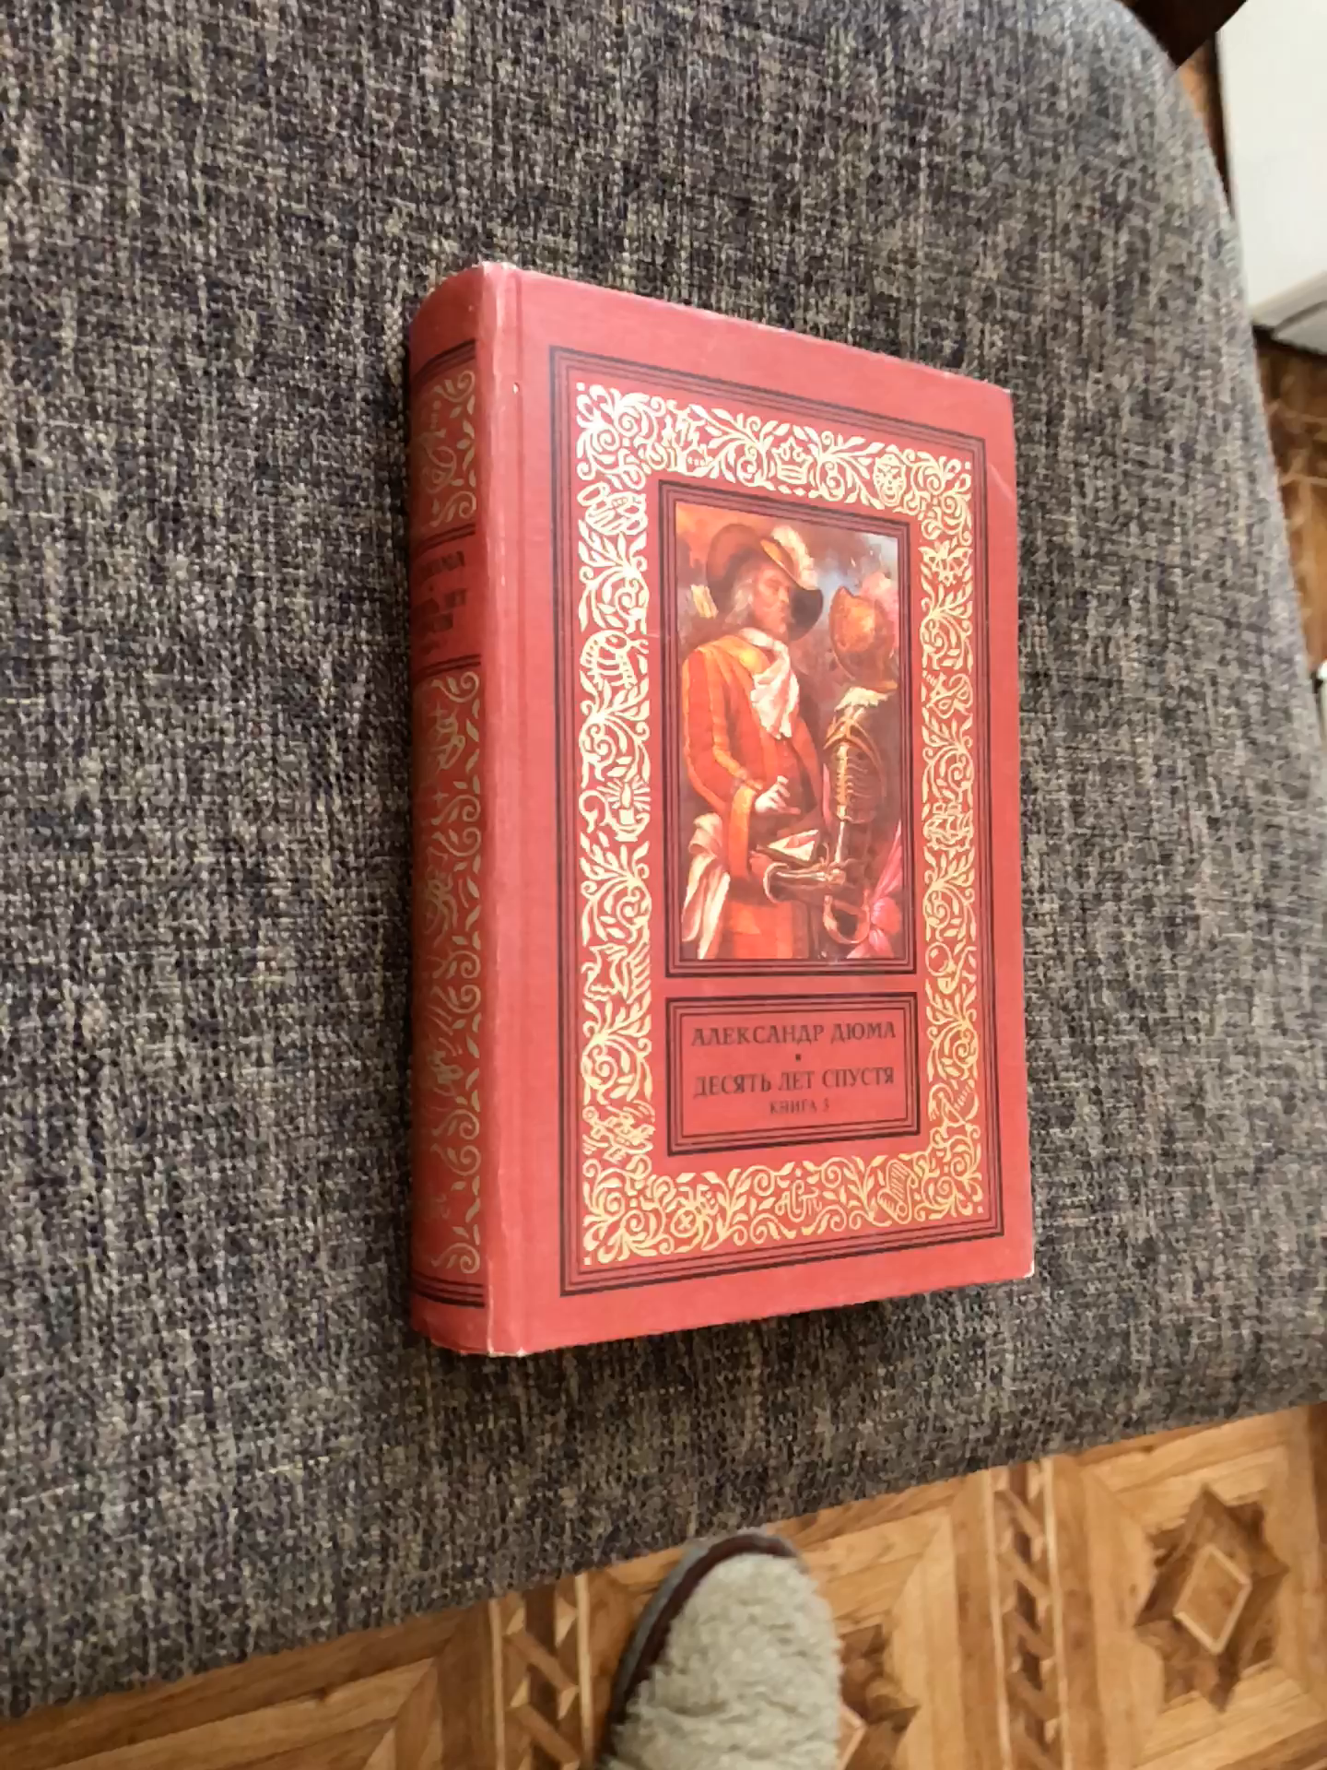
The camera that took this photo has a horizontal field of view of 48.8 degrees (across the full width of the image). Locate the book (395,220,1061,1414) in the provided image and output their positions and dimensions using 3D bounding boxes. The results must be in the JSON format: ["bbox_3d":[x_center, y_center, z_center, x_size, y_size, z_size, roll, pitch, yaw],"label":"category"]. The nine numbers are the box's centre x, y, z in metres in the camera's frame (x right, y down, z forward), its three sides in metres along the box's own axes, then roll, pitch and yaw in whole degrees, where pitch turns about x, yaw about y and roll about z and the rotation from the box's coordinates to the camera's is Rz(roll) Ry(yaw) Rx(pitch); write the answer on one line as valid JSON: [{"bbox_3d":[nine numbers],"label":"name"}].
[{"bbox_3d":[0.015,-0.012,0.299,0.132,0.038,0.206,1,86,-29],"label":"book"}]
